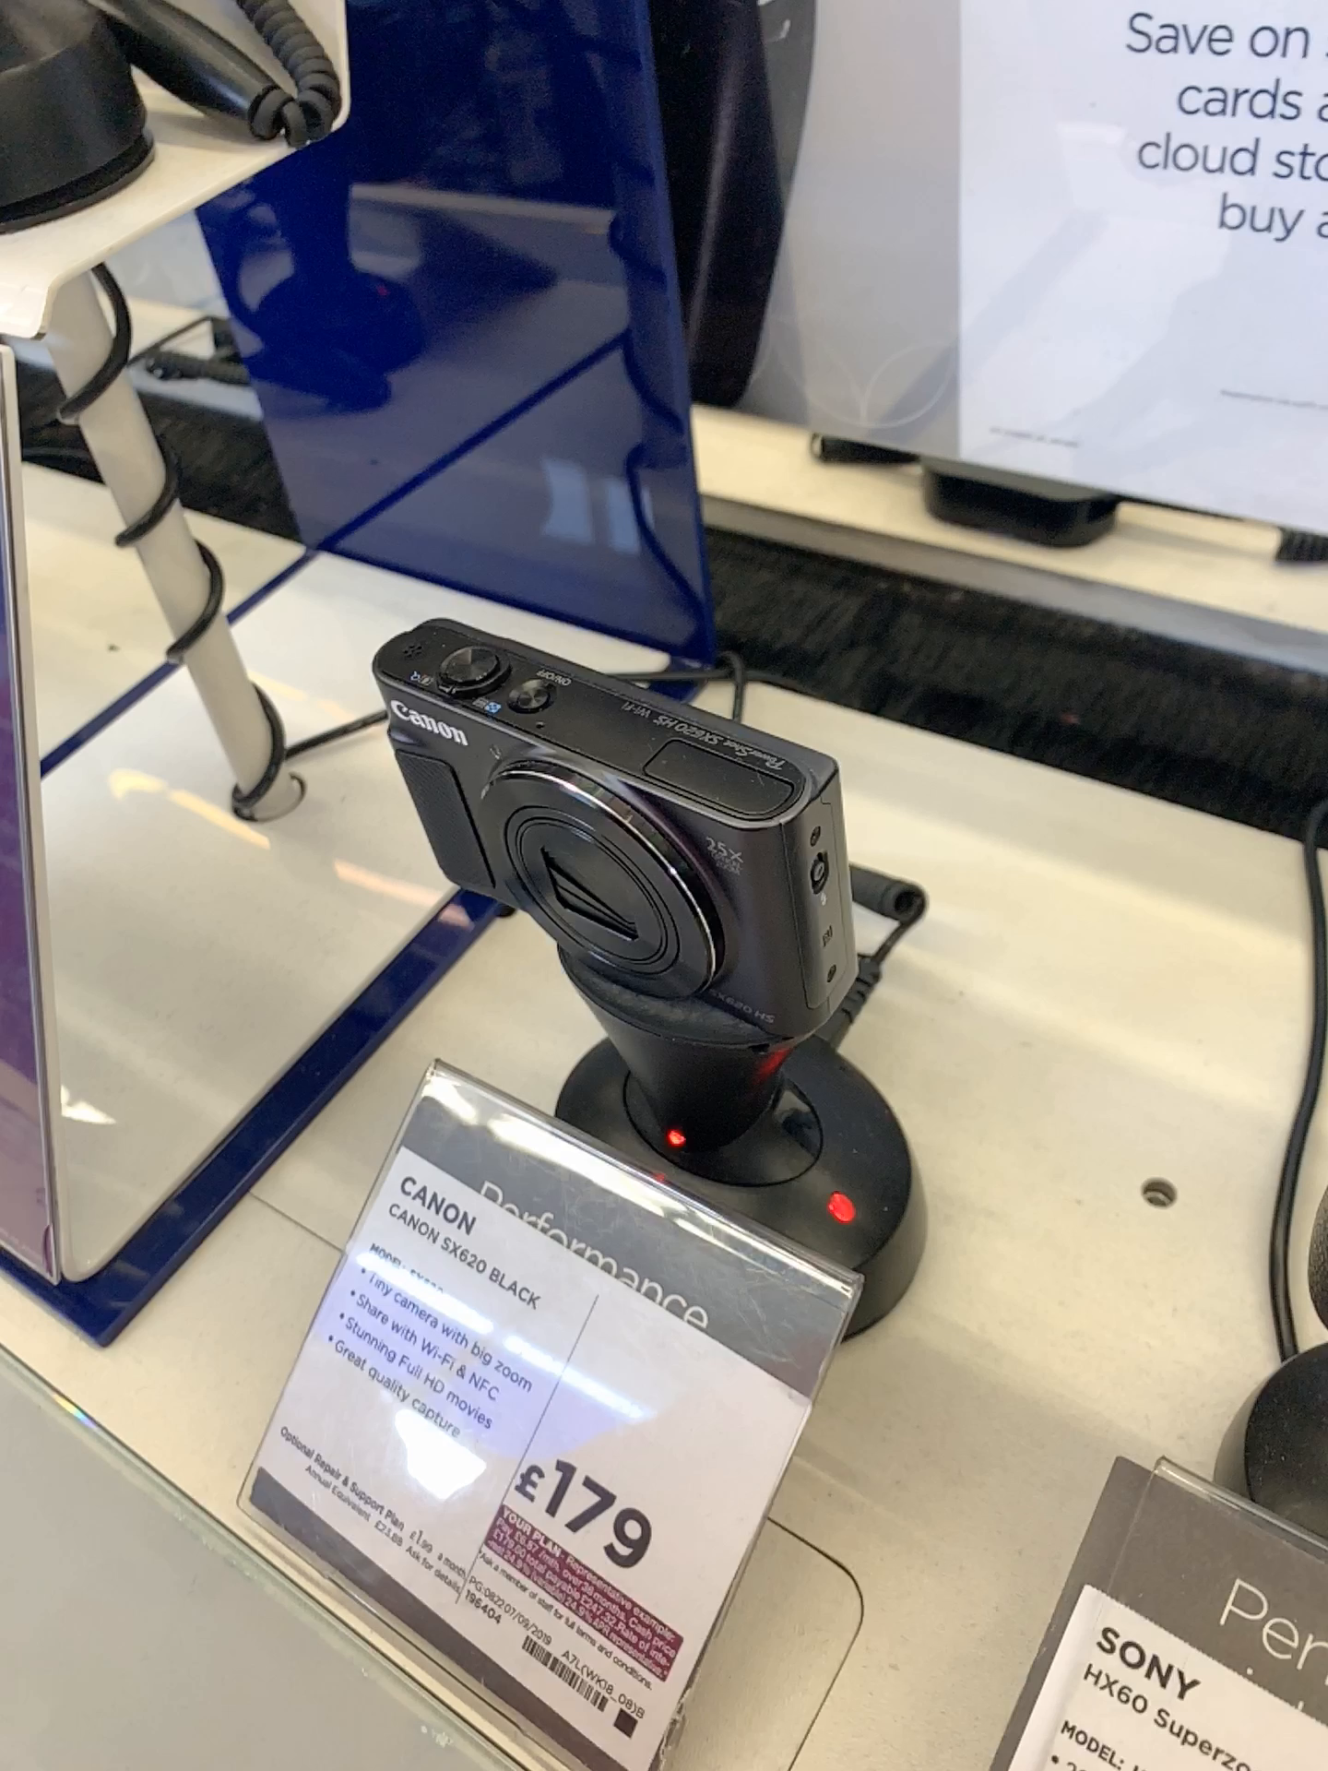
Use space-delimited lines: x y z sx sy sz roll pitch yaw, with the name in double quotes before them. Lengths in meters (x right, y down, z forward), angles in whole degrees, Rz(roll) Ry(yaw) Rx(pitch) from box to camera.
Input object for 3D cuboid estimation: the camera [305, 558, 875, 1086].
"camera" -0.011 -0.013 0.238 0.090 0.059 0.030 24 55 30
